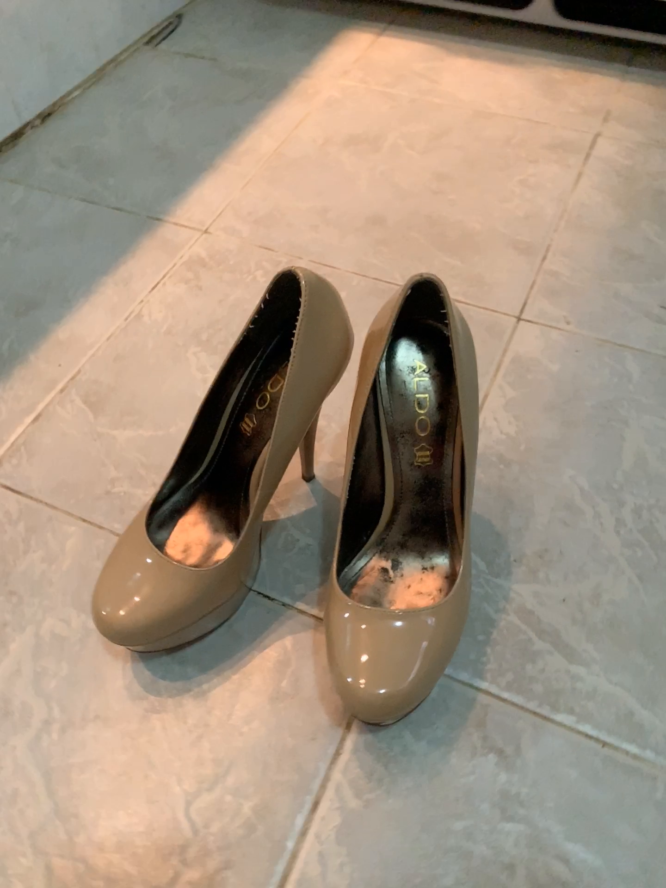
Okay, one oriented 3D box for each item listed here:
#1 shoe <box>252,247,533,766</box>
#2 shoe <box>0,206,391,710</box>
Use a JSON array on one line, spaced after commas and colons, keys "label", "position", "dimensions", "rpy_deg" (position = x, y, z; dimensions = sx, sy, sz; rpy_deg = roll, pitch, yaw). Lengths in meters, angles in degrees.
[{"label": "shoe", "position": [0.040, 0.033, 0.369], "dimensions": [0.087, 0.166, 0.211], "rpy_deg": [10, 54, 9]}, {"label": "shoe", "position": [-0.063, 0.009, 0.387], "dimensions": [0.087, 0.176, 0.211], "rpy_deg": [28, 59, 21]}]
